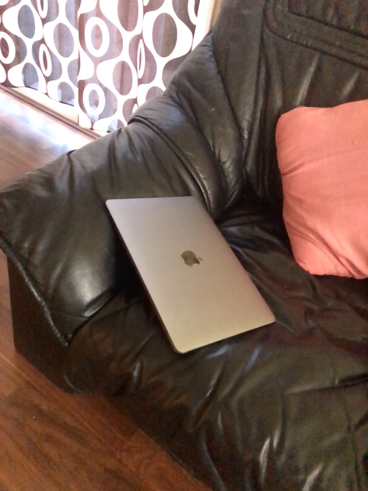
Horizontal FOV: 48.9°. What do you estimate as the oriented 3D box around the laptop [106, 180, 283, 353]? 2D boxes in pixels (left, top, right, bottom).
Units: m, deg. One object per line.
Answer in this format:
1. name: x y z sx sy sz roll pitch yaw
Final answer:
1. laptop: 0.012 0.008 0.612 0.185 0.036 0.265 -7 54 -38
